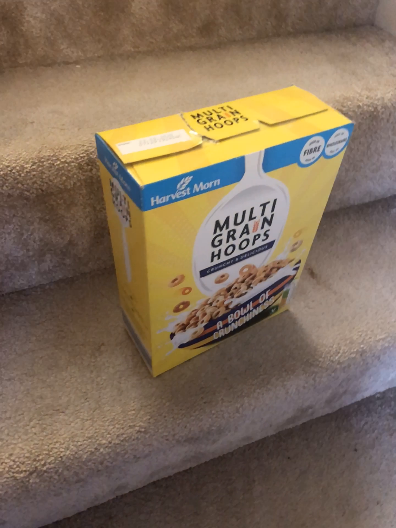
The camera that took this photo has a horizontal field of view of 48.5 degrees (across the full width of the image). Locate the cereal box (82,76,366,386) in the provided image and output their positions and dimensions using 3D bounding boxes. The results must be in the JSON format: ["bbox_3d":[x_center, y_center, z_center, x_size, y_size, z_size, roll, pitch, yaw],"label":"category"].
[{"bbox_3d":[0.018,-0.022,0.427,0.200,0.248,0.090,-23,53,-22],"label":"cereal box"}]
